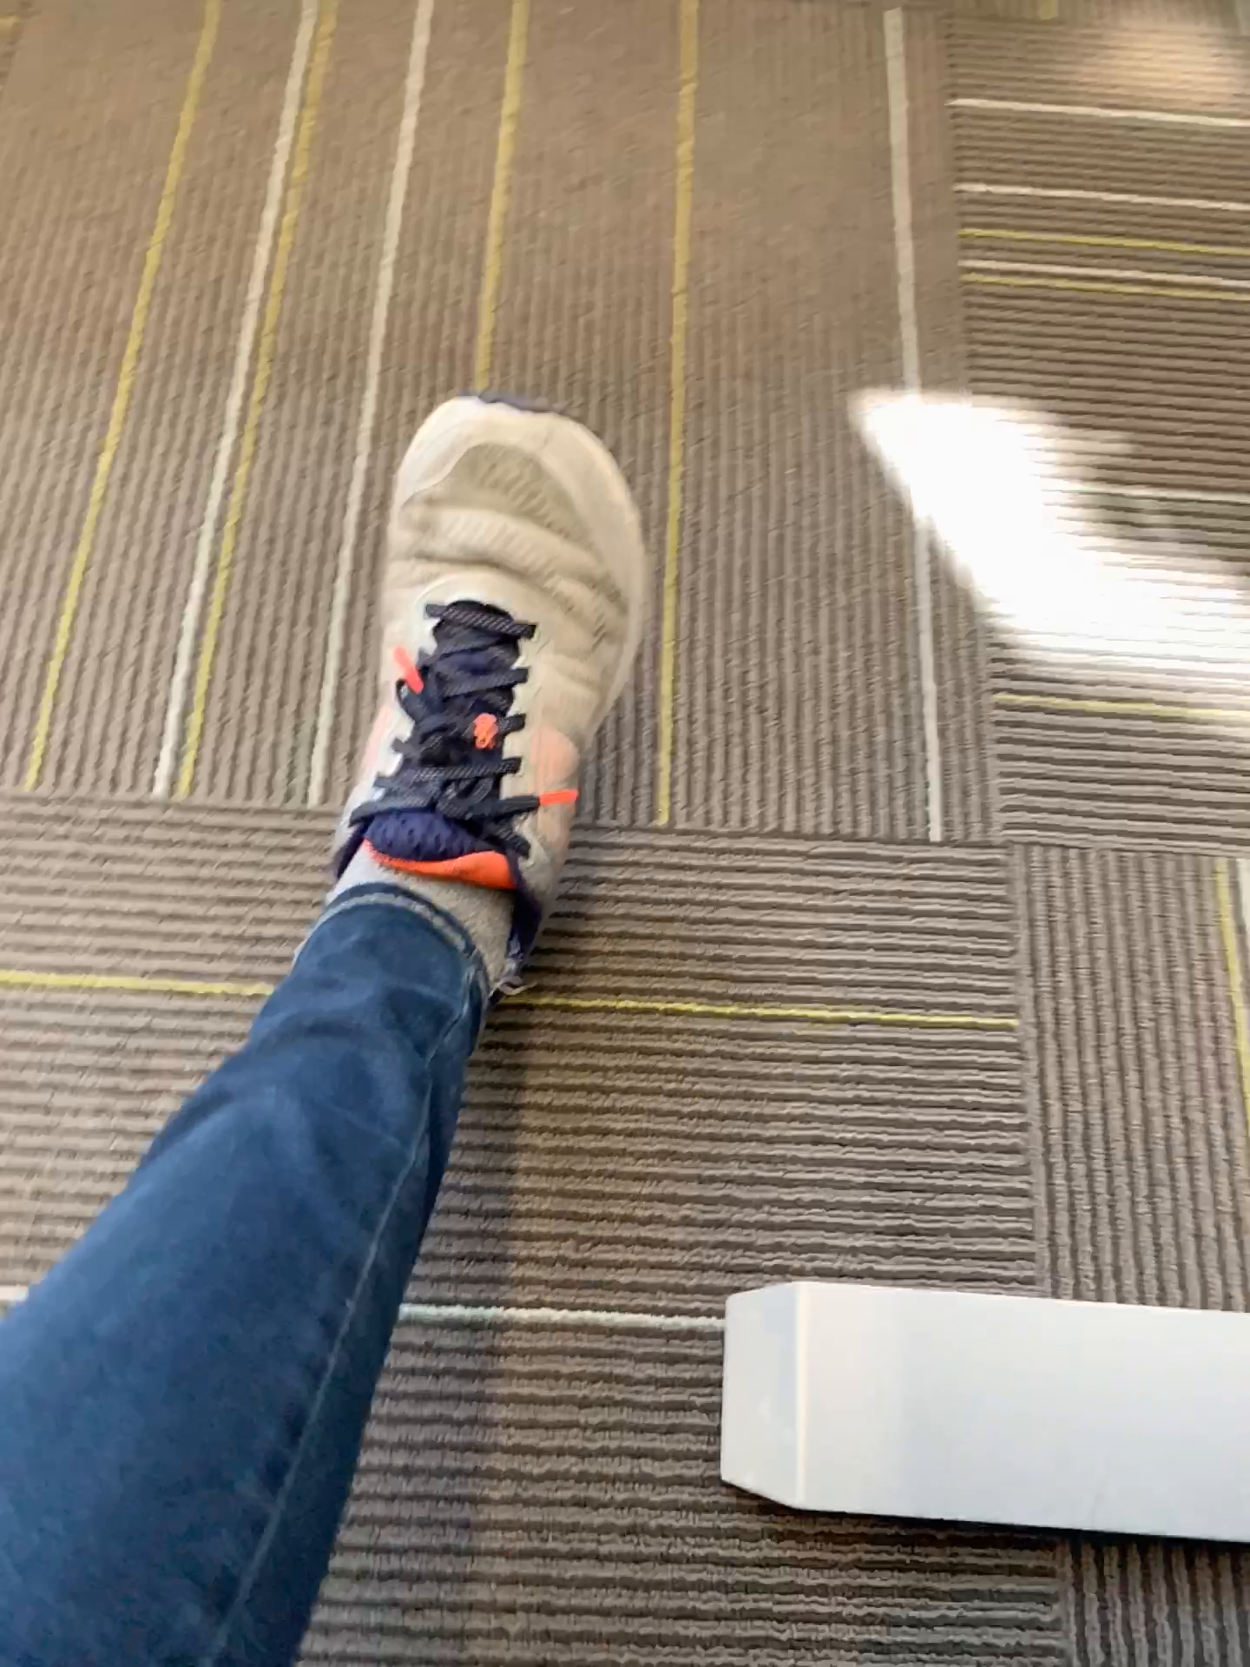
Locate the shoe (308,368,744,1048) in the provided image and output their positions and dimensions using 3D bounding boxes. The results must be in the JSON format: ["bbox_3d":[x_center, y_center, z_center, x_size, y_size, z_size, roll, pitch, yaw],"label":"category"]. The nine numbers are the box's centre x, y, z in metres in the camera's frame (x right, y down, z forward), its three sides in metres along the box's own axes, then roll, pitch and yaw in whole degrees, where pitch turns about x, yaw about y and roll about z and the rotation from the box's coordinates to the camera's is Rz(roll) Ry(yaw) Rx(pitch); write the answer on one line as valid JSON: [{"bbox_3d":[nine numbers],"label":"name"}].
[{"bbox_3d":[-0.037,-0.053,0.520,0.120,0.110,0.230,13,106,2],"label":"shoe"}]
